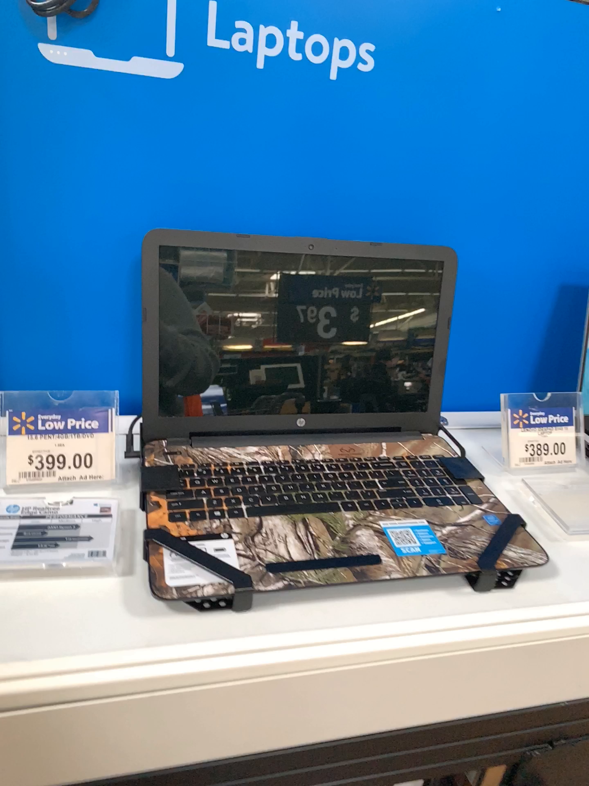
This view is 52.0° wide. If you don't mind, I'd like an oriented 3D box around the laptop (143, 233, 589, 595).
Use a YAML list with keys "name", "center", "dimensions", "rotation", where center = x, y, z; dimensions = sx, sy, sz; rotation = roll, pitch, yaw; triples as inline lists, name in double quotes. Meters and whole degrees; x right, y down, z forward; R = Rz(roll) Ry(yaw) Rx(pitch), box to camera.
- name: "laptop"
  center: [0.045, -0.005, 0.613]
  dimensions: [0.374, 0.227, 0.304]
  rotation: [0, 25, -15]
